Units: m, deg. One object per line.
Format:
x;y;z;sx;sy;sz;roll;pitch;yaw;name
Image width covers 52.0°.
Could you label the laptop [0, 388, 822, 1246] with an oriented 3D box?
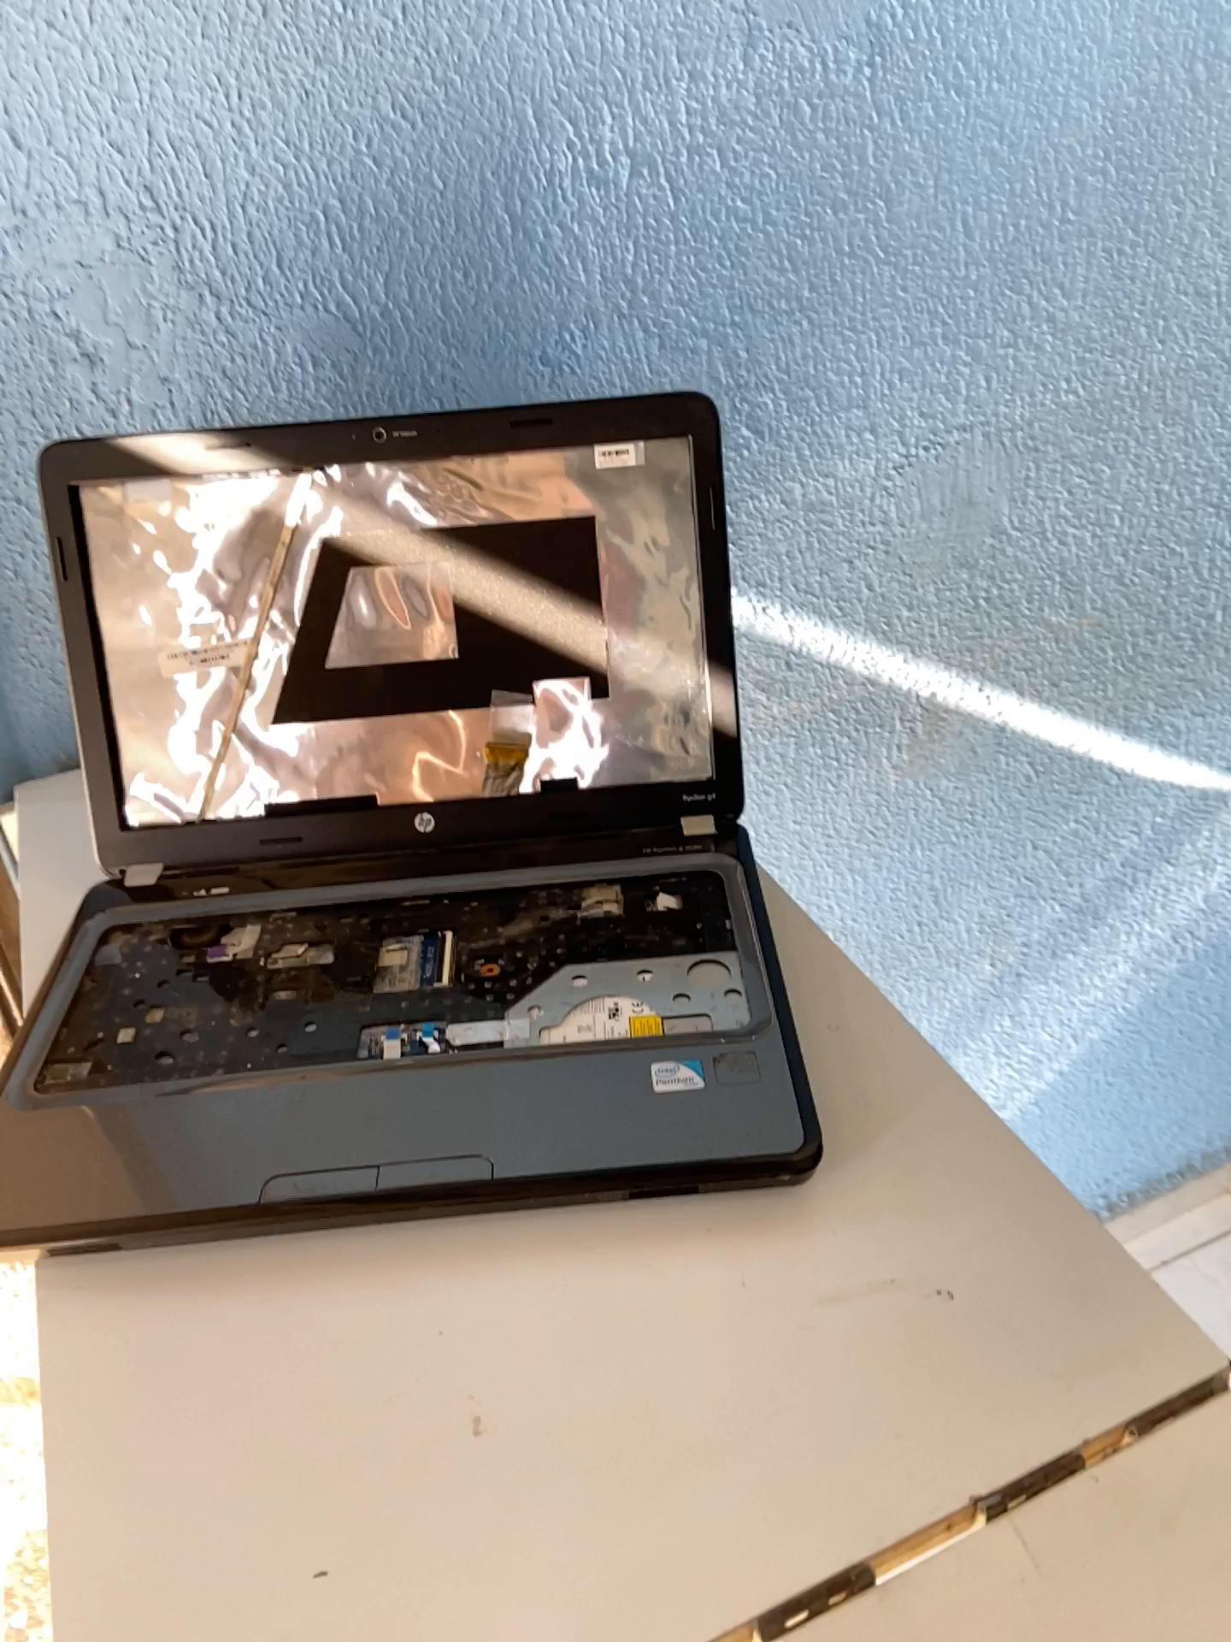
-0.105;-0.030;0.557;0.335;0.194;0.325;-5;33;1;laptop
